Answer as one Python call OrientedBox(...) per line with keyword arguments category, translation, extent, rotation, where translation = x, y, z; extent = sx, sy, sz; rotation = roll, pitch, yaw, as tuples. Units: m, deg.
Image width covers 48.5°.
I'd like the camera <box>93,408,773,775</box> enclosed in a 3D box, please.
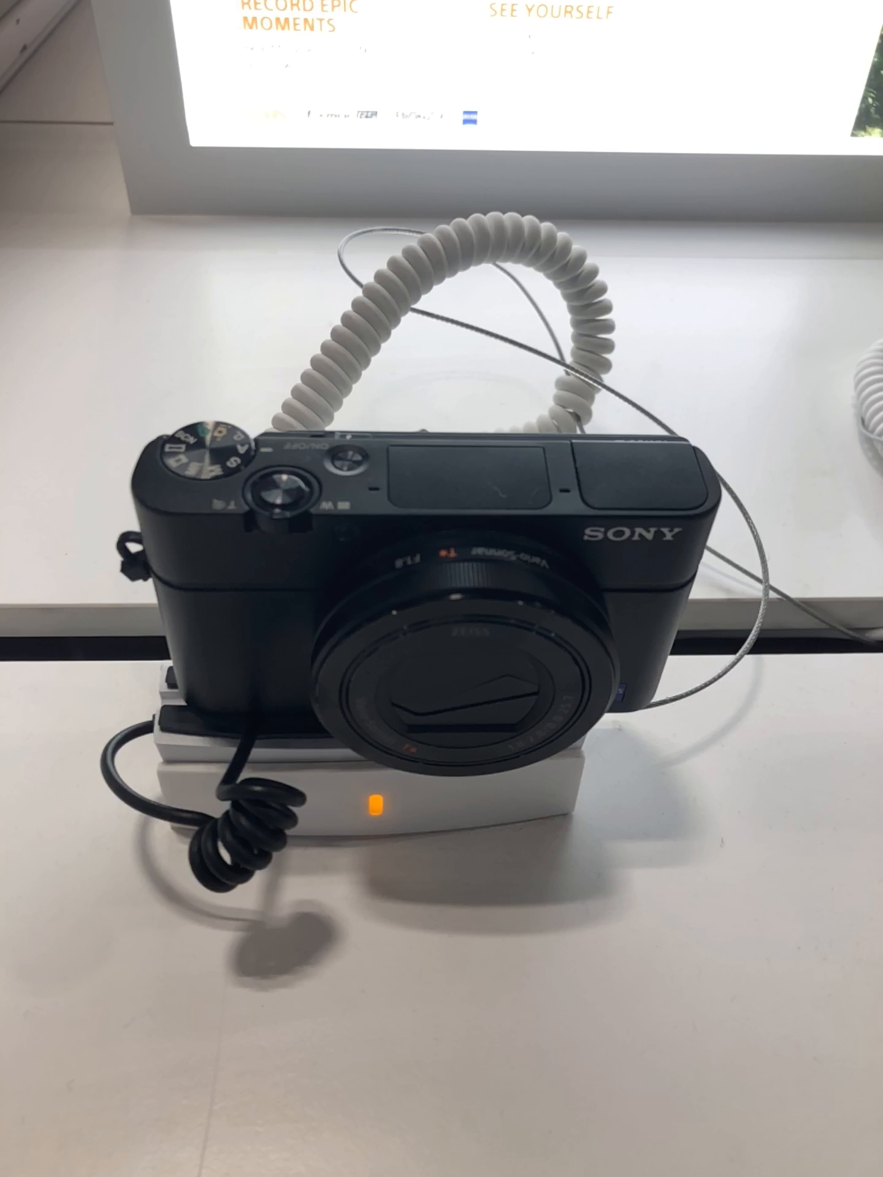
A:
OrientedBox(category="camera", translation=(-0.002, 0.003, 0.193), extent=(0.110, 0.070, 0.030), rotation=(1, 43, -2))
